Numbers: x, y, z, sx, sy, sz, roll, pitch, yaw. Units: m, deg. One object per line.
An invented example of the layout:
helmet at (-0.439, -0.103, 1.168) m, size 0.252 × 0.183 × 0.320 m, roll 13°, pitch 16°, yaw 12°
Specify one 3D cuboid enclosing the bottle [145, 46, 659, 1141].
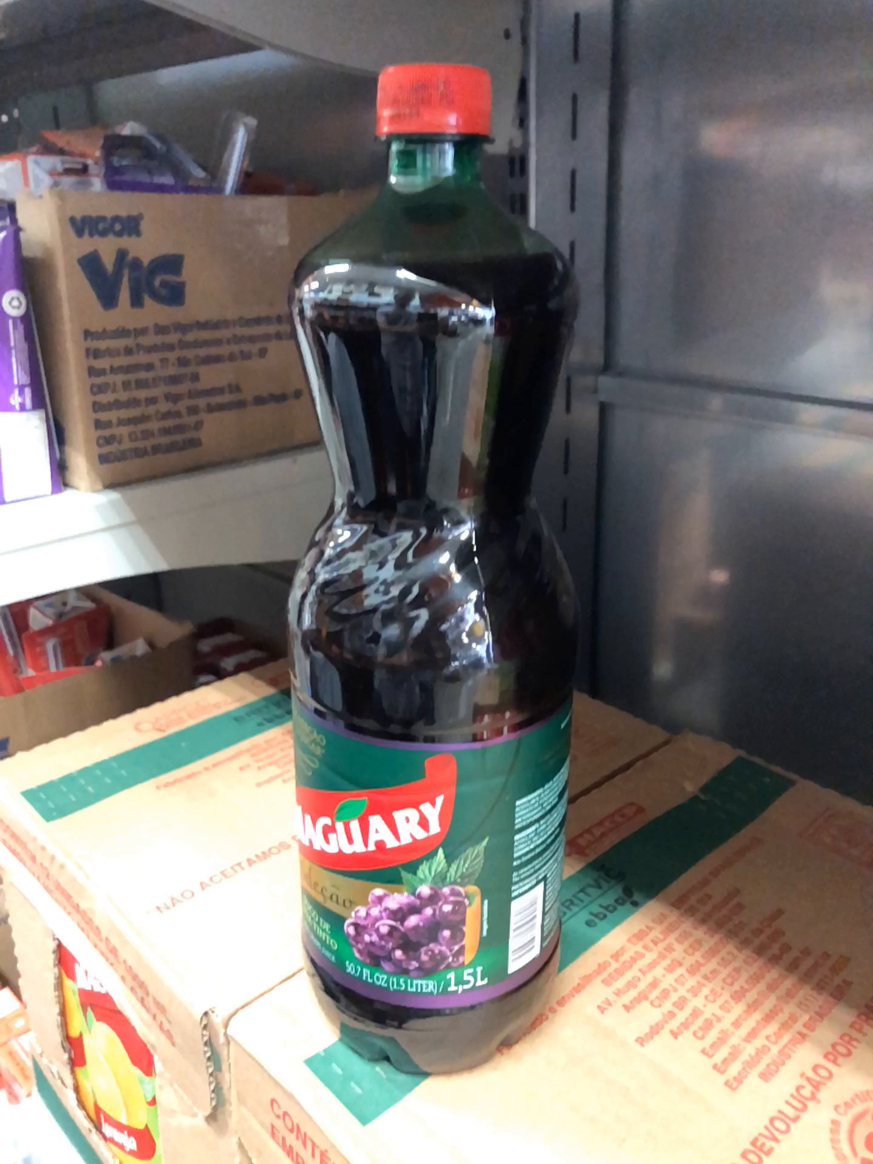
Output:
bottle at (-0.006, 0.010, 0.293) m, size 0.100 × 0.288 × 0.080 m, roll 12°, pitch 24°, yaw 28°
